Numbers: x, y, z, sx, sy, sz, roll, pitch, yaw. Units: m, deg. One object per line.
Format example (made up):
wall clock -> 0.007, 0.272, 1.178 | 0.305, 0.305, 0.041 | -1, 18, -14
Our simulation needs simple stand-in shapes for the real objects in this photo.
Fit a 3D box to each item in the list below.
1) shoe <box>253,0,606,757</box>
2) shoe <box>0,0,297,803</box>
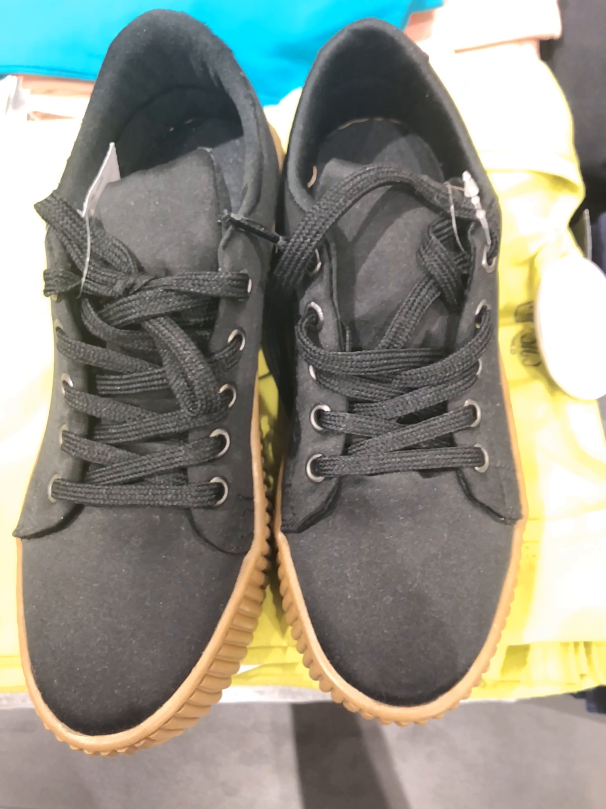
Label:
shoe -> 0.031, -0.021, 0.237 | 0.090, 0.080, 0.240 | -1, 76, 0
shoe -> -0.054, -0.009, 0.230 | 0.090, 0.080, 0.230 | 3, 76, 1
